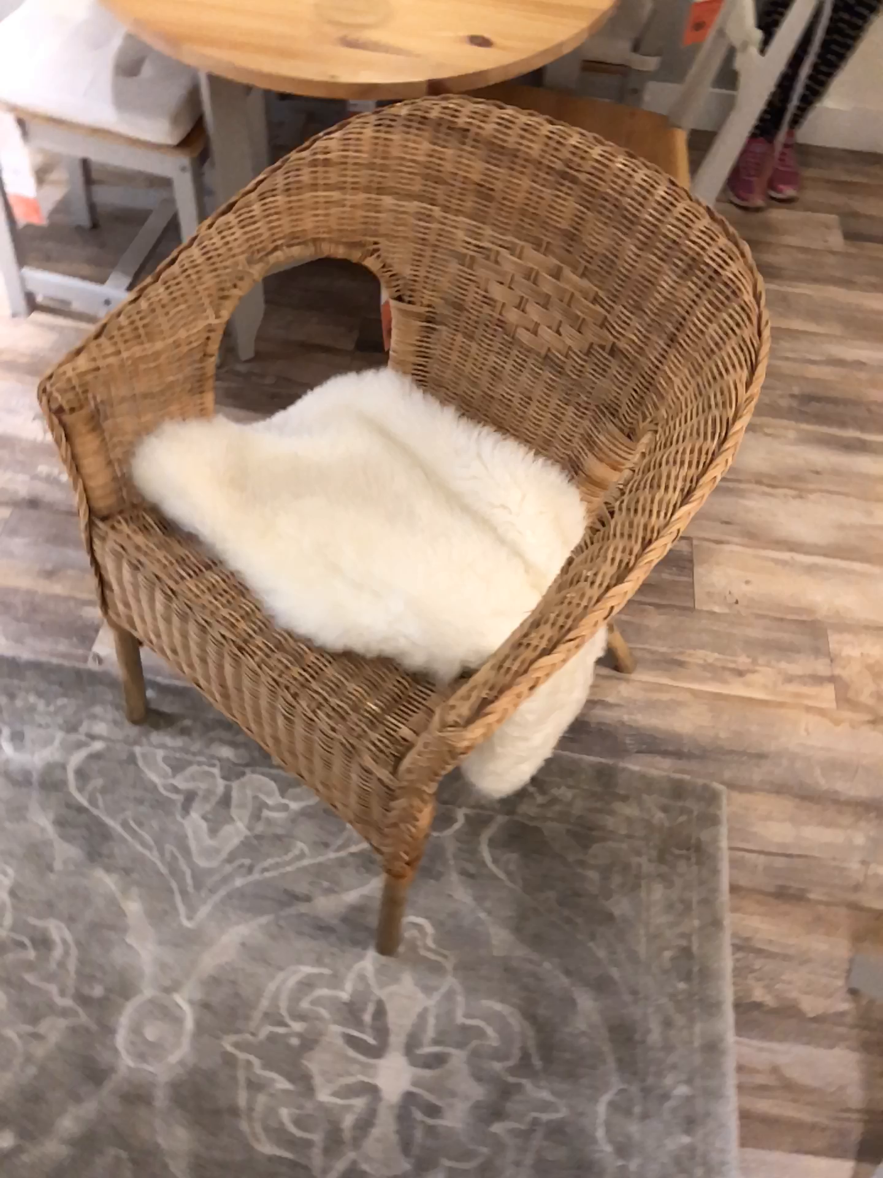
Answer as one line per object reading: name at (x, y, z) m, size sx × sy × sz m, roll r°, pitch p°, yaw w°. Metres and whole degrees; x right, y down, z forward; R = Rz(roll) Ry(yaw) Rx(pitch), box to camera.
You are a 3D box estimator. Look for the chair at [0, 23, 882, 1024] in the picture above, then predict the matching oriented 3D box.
chair at (-0.025, -0.064, 1.124) m, size 0.650 × 0.718 × 0.631 m, roll 38°, pitch 59°, yaw 21°
